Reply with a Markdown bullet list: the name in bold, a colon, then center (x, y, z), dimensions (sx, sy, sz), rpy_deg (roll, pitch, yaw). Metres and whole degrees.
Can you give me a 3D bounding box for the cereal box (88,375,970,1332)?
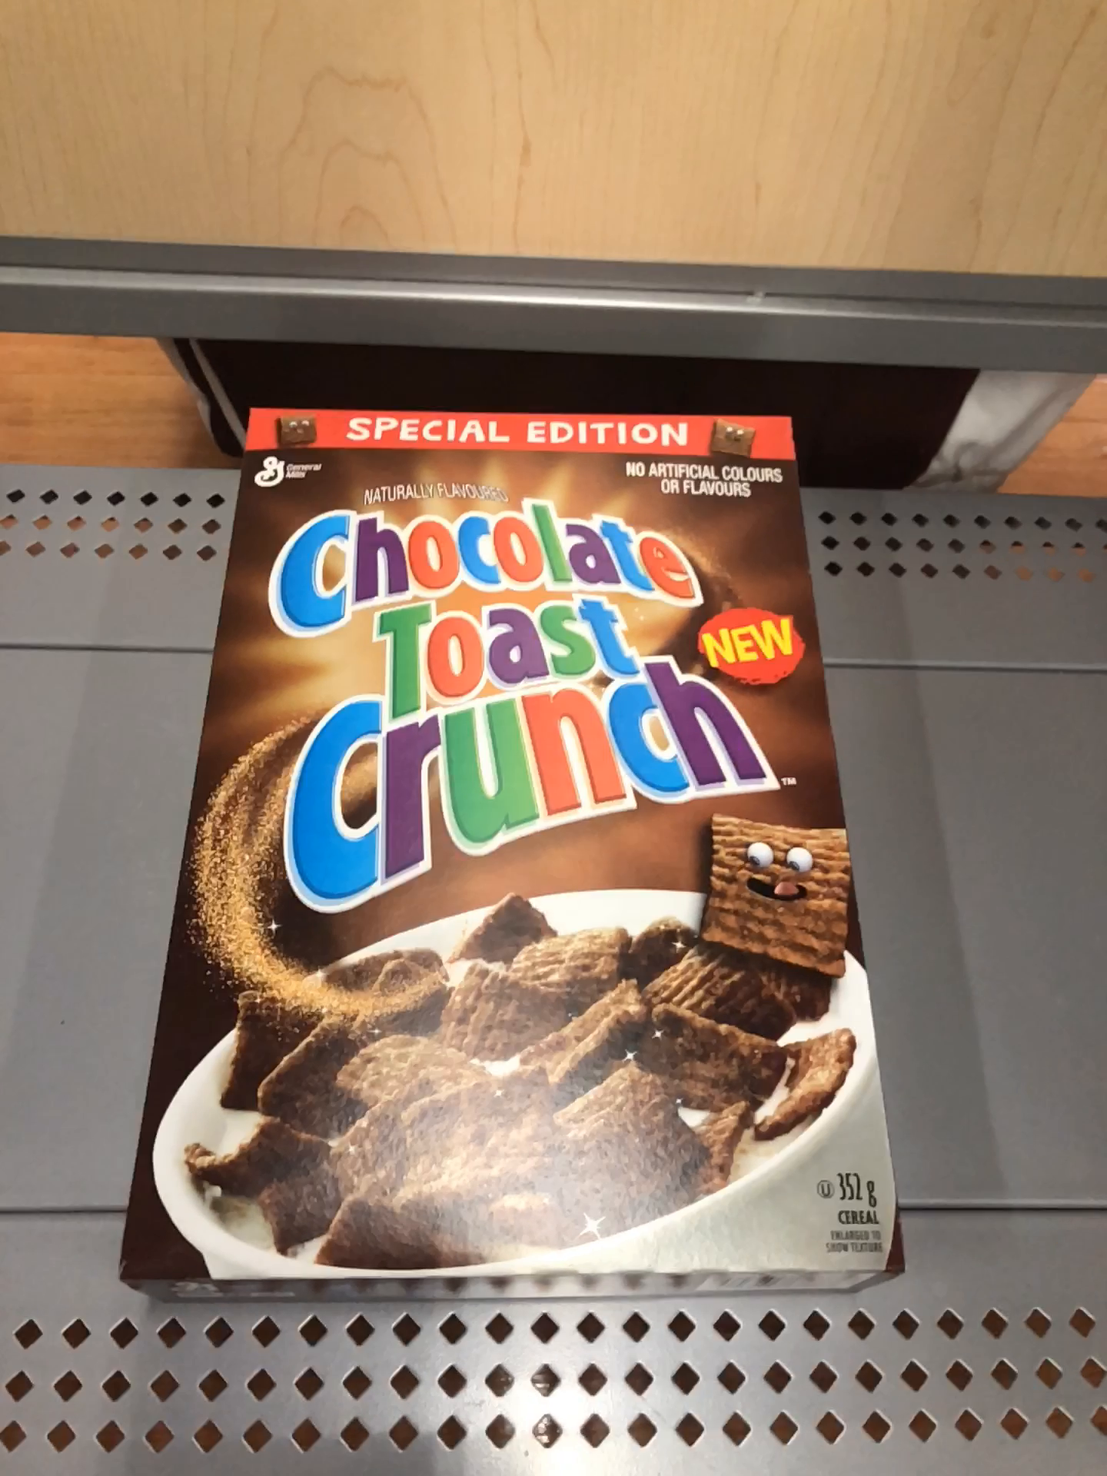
- **cereal box**: center (-0.007, 0.024, 0.391), dimensions (0.200, 0.090, 0.291), rpy_deg (1, 59, -3)
